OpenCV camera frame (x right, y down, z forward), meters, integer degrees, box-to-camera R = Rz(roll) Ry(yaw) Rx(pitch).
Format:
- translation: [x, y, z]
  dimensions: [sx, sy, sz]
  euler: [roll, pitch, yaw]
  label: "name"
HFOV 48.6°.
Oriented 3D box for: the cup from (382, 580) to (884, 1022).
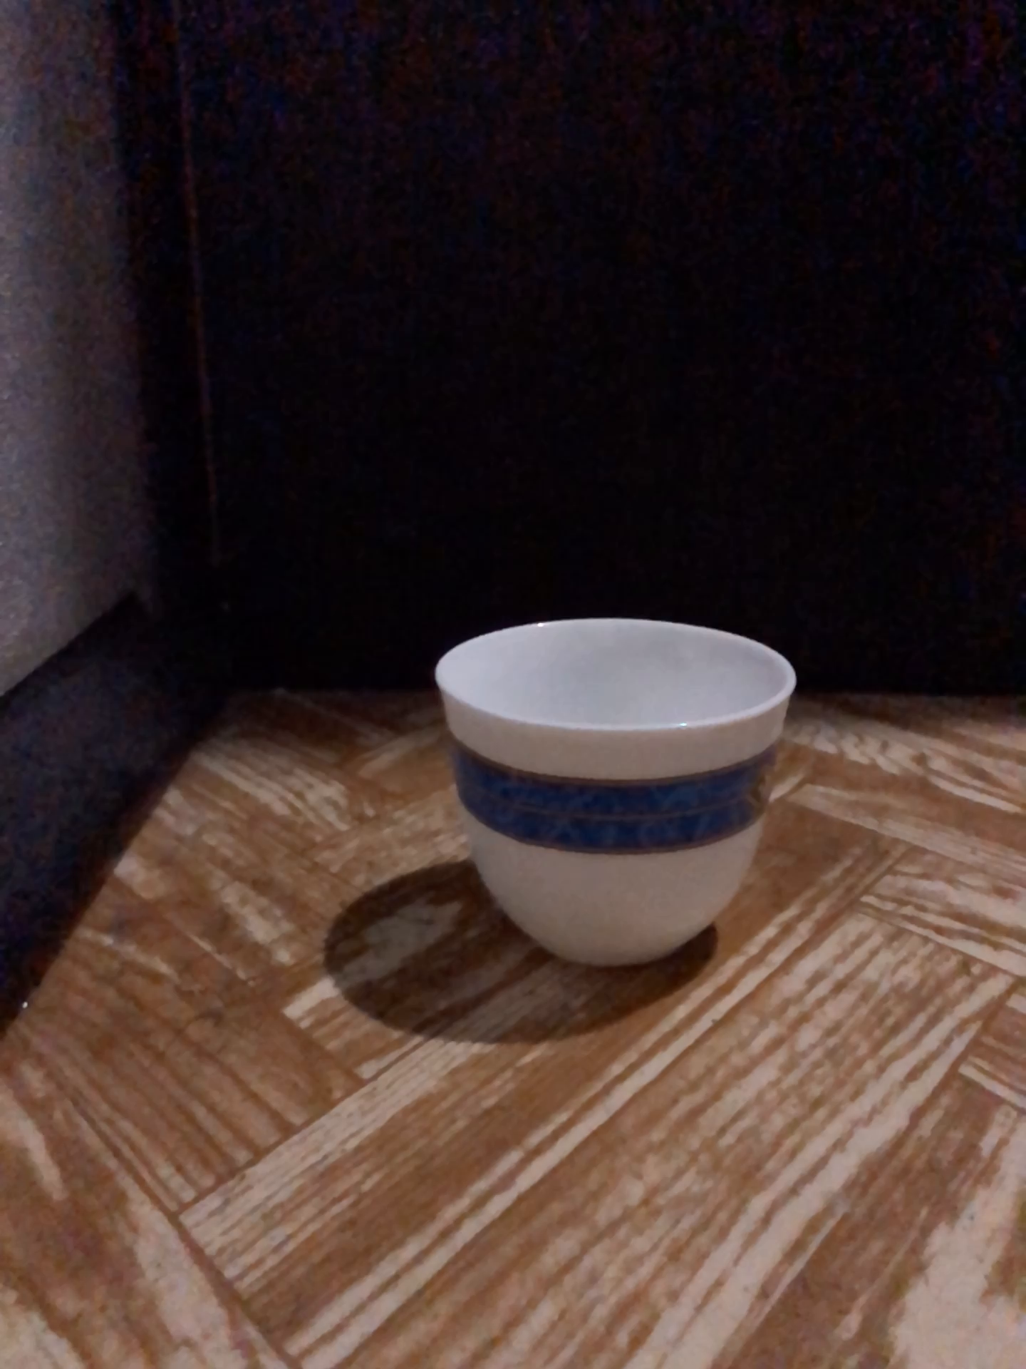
- translation: [0.035, 0.019, 0.291]
  dimensions: [0.087, 0.062, 0.111]
  euler: [9, 19, 28]
  label: "cup"
